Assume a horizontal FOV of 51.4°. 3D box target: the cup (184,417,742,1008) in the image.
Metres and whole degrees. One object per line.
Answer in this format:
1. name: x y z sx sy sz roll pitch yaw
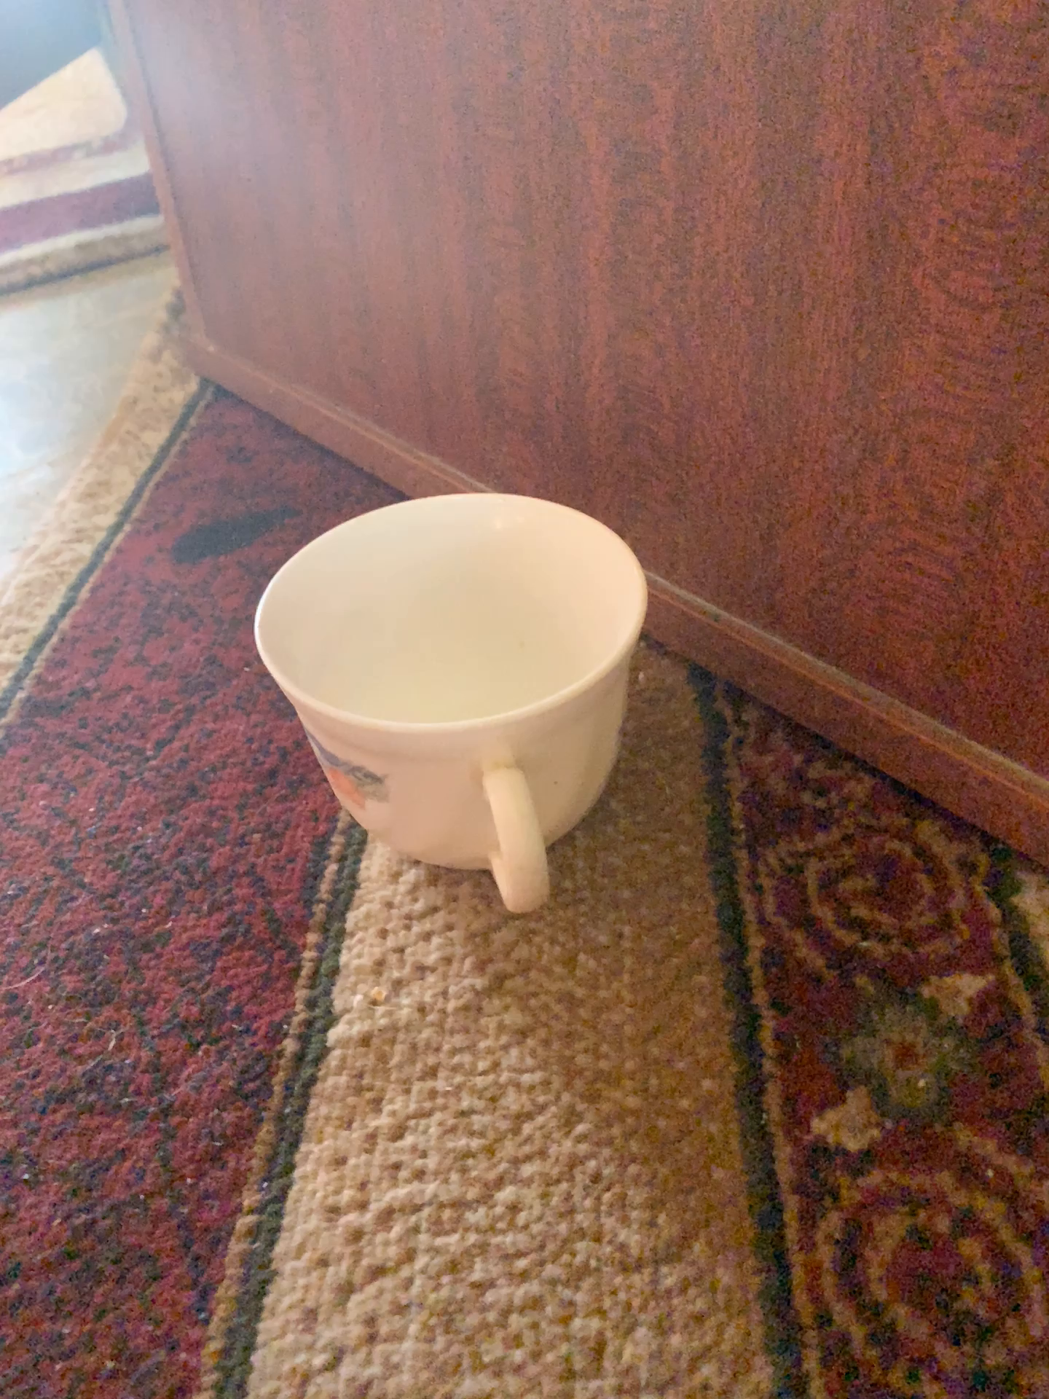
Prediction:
1. cup: -0.019 -0.007 0.233 0.082 0.053 0.110 -15 40 -14
